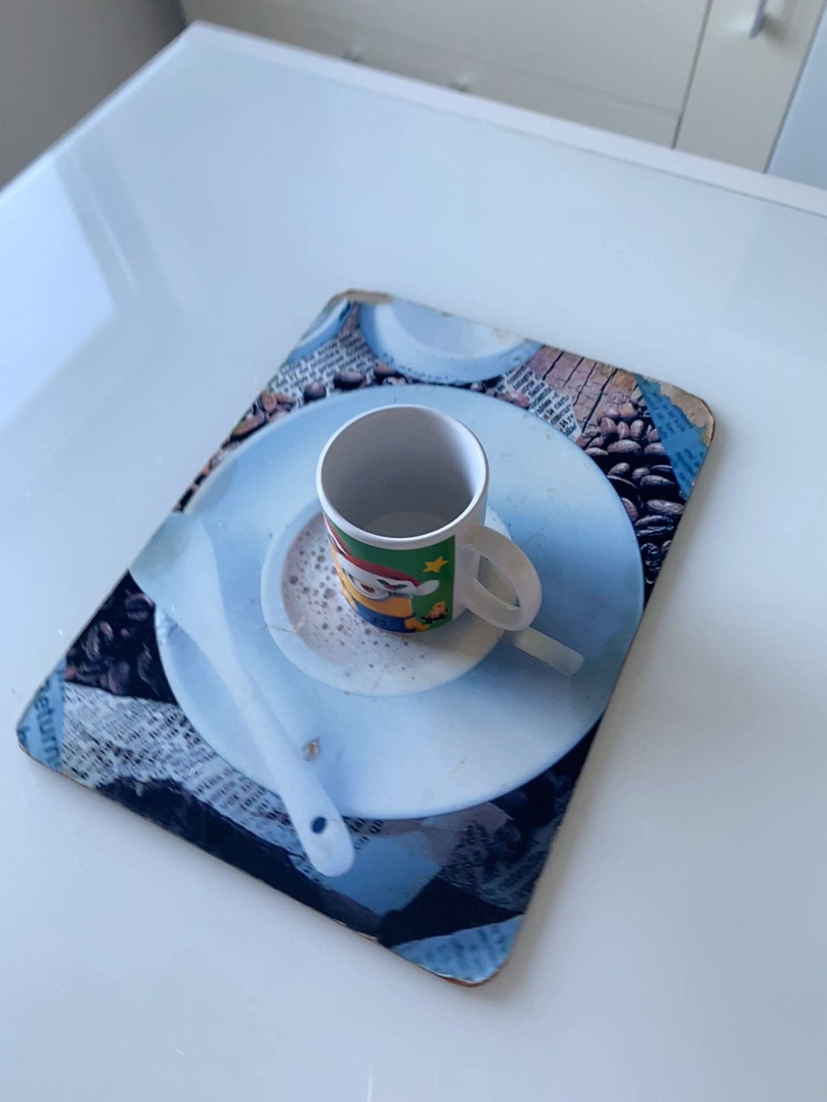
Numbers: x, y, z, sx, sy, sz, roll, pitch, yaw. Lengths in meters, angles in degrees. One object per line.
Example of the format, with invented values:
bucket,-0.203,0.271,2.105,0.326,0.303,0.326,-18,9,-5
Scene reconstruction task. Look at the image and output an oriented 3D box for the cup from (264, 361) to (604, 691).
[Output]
cup,0.010,-0.015,0.442,0.134,0.077,0.094,32,65,20
